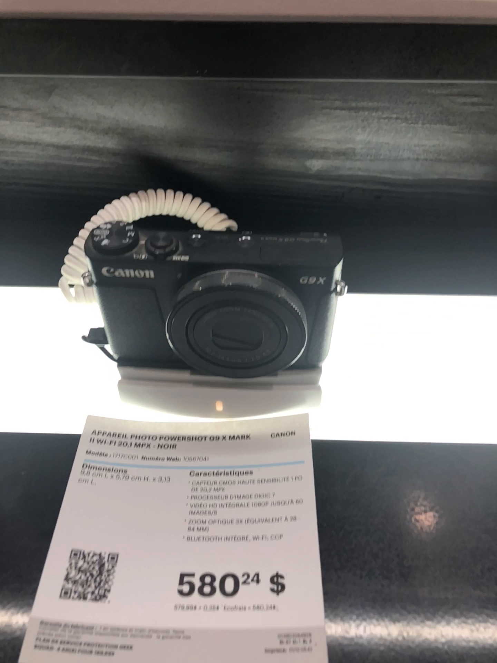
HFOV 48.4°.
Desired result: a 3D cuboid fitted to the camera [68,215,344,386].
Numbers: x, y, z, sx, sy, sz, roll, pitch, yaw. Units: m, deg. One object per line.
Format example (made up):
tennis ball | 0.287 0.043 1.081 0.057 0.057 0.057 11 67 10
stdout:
camera | -0.014 -0.011 0.213 0.092 0.060 0.026 2 44 3
